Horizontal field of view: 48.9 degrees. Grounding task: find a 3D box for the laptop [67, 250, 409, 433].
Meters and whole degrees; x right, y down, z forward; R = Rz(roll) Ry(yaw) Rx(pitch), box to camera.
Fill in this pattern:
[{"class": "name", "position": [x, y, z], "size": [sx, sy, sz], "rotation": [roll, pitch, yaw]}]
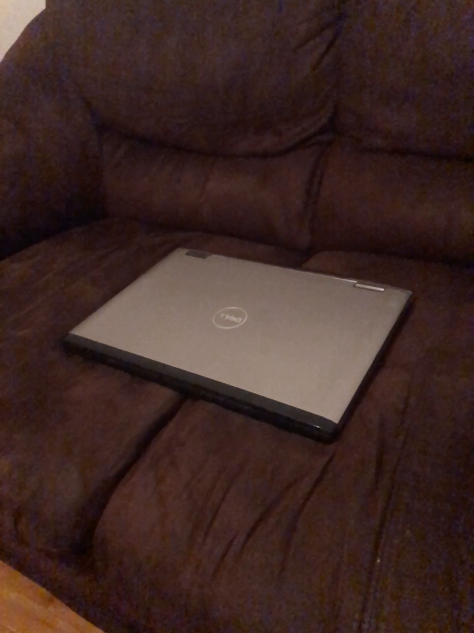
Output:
[{"class": "laptop", "position": [0.002, 0.002, 0.681], "size": [0.370, 0.002, 0.261], "rotation": [14, 40, 28]}]
